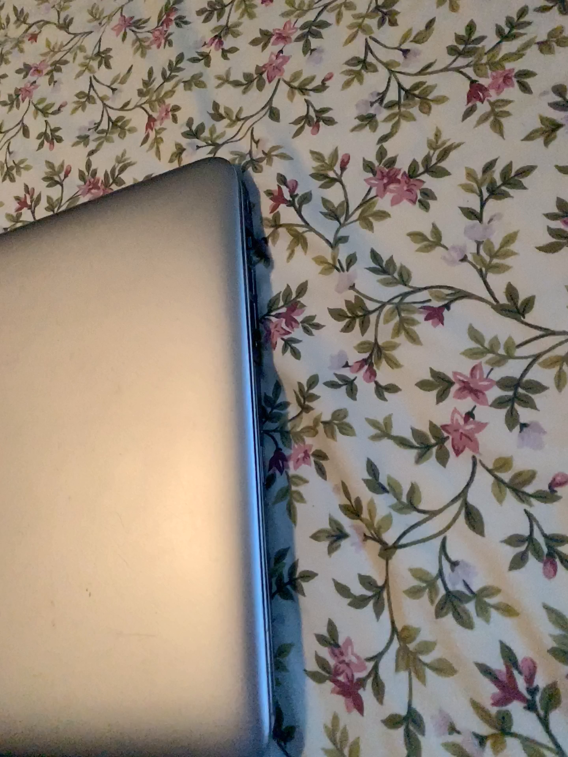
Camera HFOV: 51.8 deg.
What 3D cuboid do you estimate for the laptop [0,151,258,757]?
[{"bbox_3d":[-0.172,0.043,0.278,0.337,0.010,0.229,-12,70,21],"label":"laptop"}]
